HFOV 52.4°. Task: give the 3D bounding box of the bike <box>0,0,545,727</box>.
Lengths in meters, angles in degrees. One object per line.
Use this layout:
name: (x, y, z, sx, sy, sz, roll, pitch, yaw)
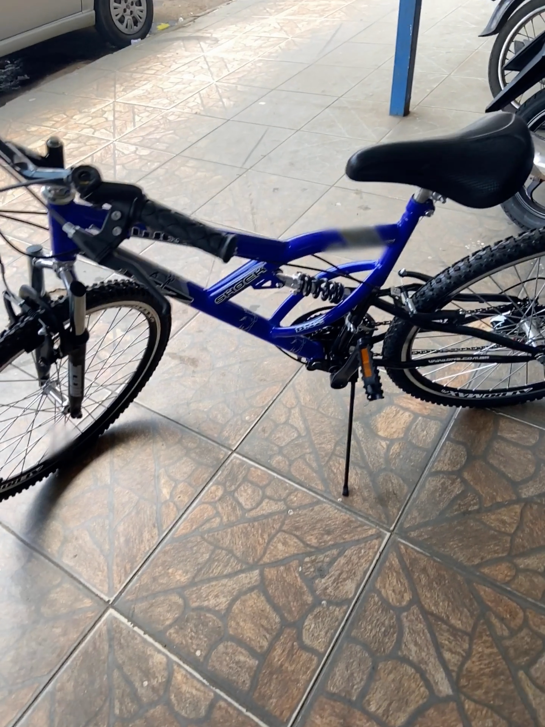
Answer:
bike: (0.104, 0.079, 0.964, 1.610, 1.019, 0.517, -12, 46, -4)
